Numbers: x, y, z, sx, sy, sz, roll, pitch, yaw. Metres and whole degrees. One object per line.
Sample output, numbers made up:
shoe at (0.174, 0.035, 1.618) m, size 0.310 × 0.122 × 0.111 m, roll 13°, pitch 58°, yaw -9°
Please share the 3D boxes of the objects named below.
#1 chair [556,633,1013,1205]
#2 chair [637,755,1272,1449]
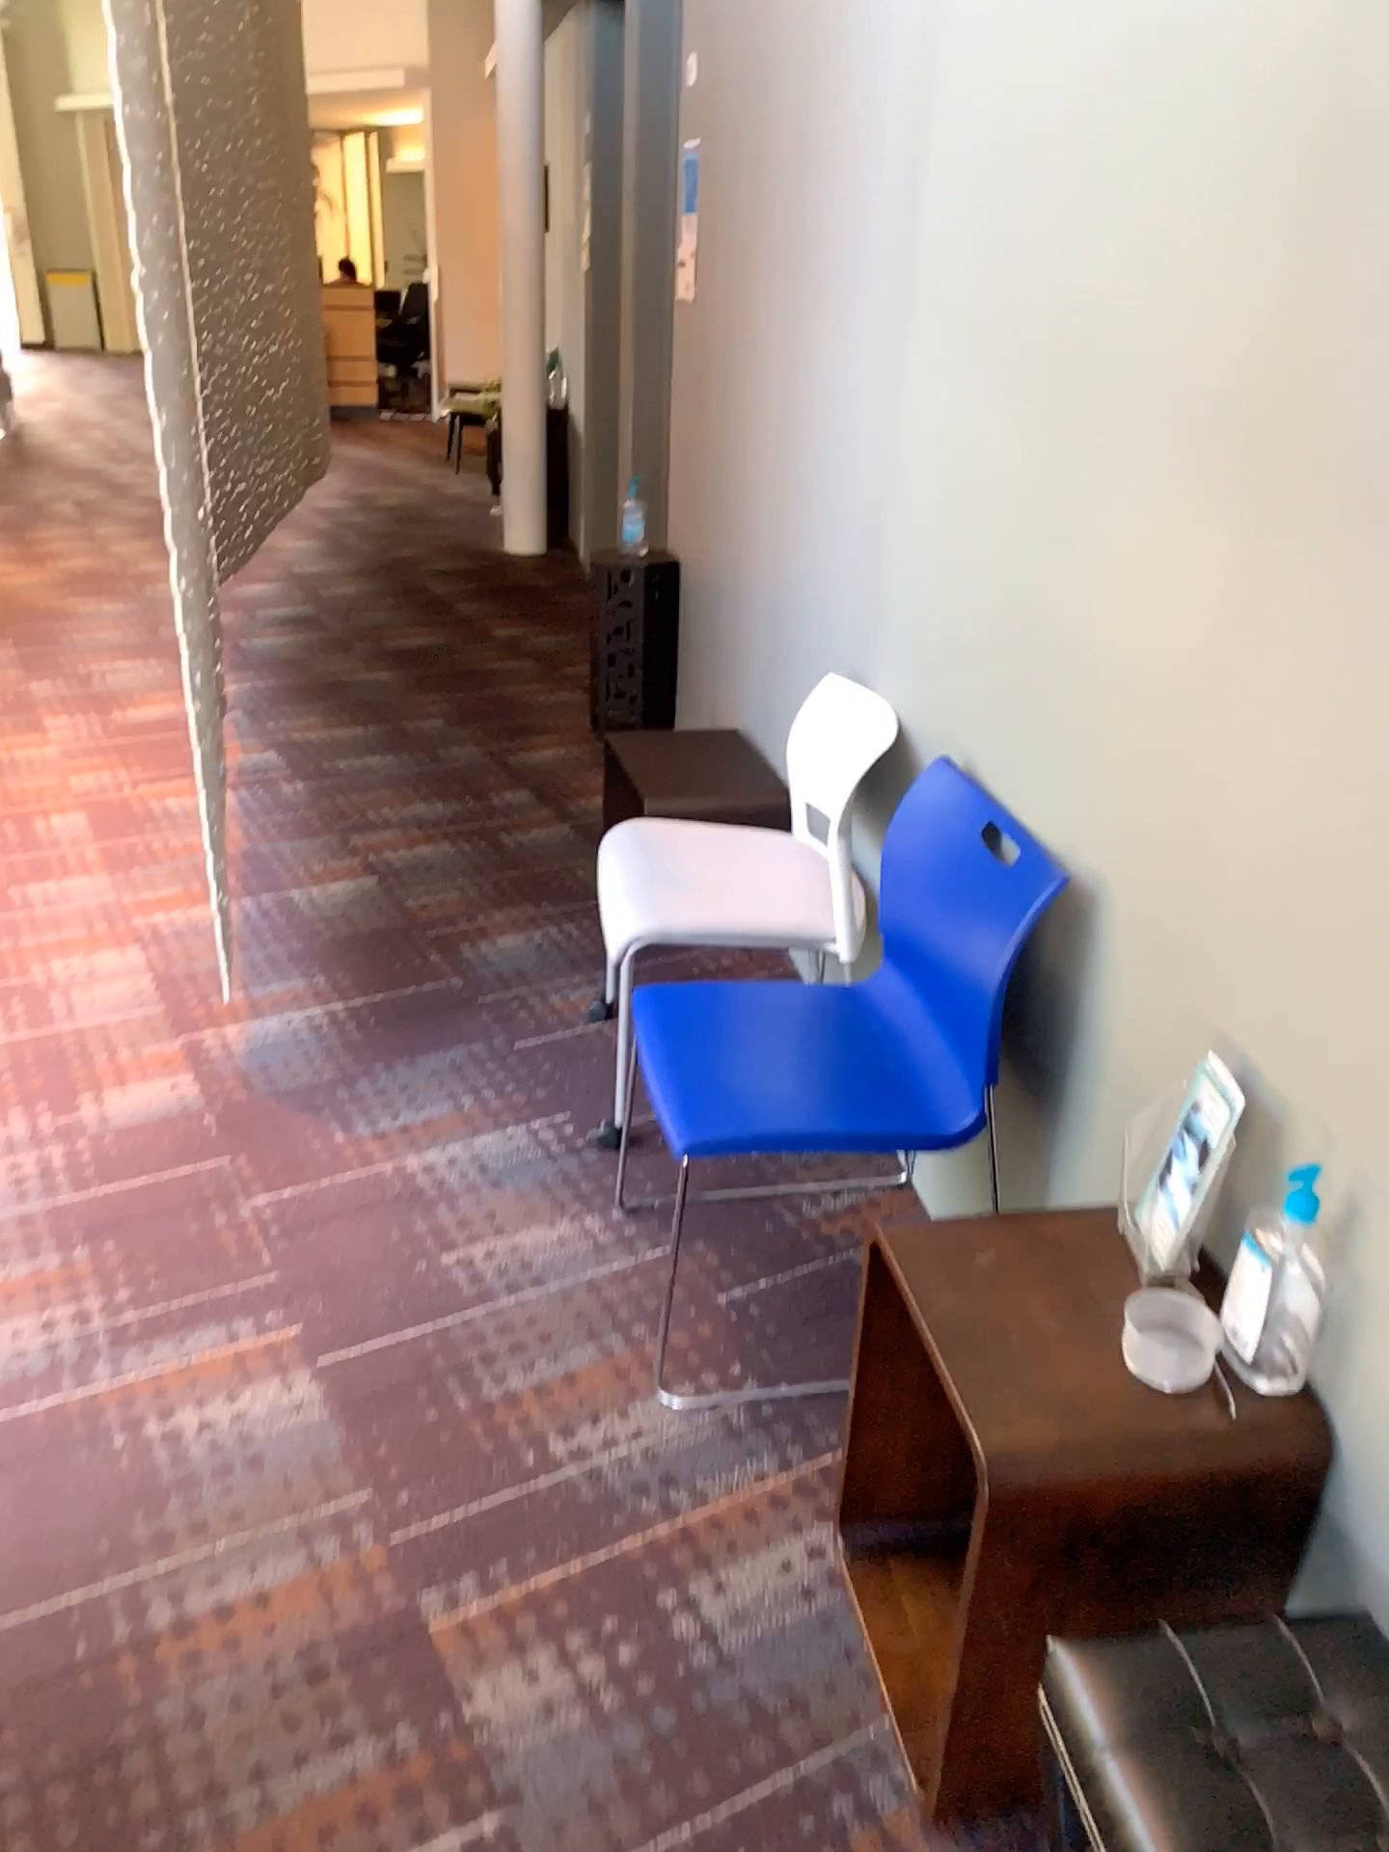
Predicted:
chair at (0.106, -0.037, 2.549) m, size 0.560 × 0.795 × 0.594 m, roll -5°, pitch 32°, yaw -18°
chair at (0.304, 0.246, 2.094) m, size 0.620 × 0.796 × 0.593 m, roll 3°, pitch 25°, yaw -12°
